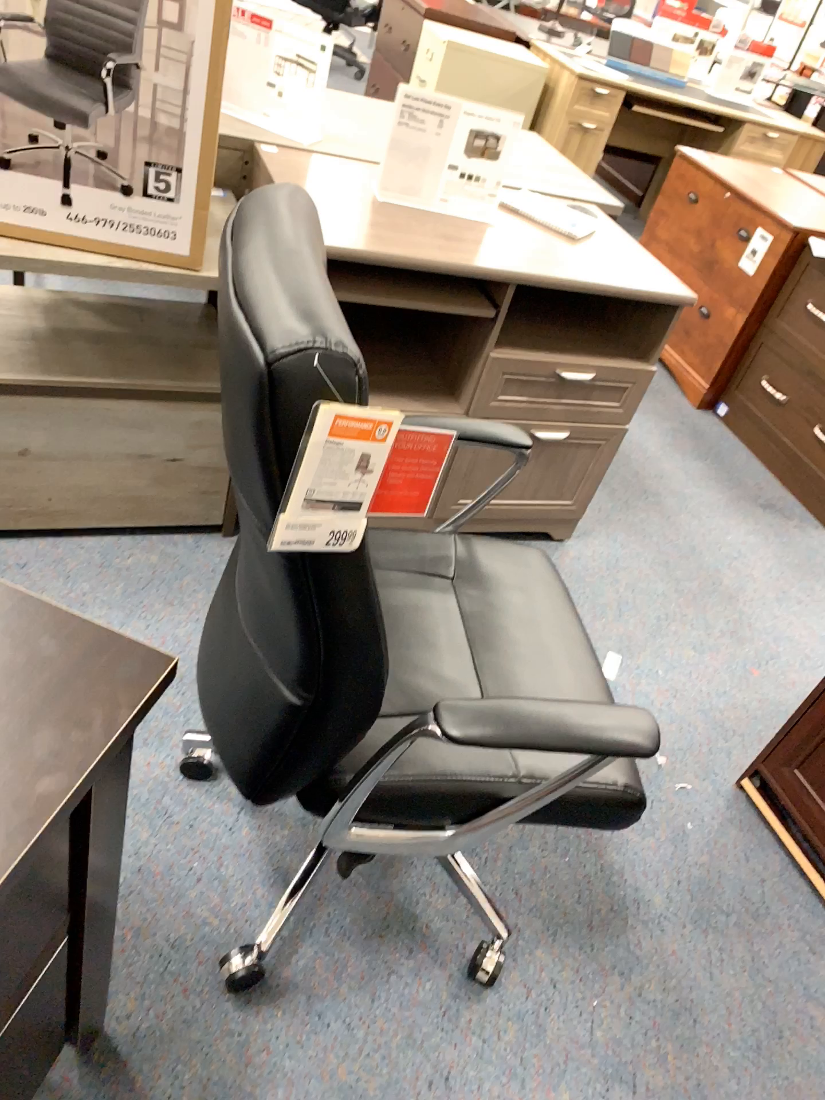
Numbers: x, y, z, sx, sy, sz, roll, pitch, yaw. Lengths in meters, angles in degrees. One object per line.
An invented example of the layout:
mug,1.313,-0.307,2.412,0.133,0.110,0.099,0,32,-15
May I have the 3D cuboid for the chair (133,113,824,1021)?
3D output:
chair,0.044,0.092,1.197,0.718,0.996,0.667,6,40,-16
